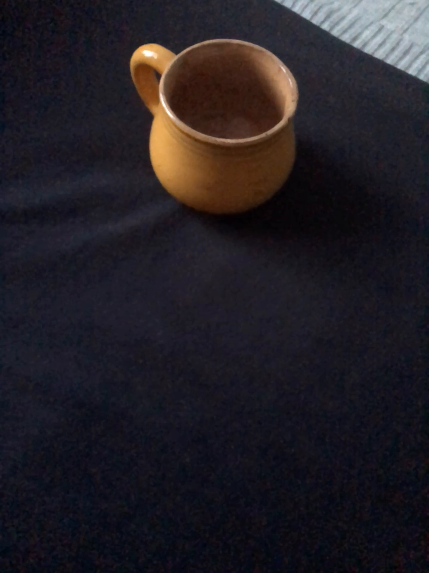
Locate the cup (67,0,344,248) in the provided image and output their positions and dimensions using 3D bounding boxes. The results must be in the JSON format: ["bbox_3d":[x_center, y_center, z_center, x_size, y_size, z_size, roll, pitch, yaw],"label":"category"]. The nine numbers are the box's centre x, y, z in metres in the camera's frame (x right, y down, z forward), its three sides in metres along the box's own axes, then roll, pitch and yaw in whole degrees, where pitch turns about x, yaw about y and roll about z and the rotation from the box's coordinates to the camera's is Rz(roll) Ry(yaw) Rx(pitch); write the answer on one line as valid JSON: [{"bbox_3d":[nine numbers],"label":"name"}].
[{"bbox_3d":[-0.007,-0.098,0.272,0.082,0.058,0.119,-40,74,-21],"label":"cup"}]
